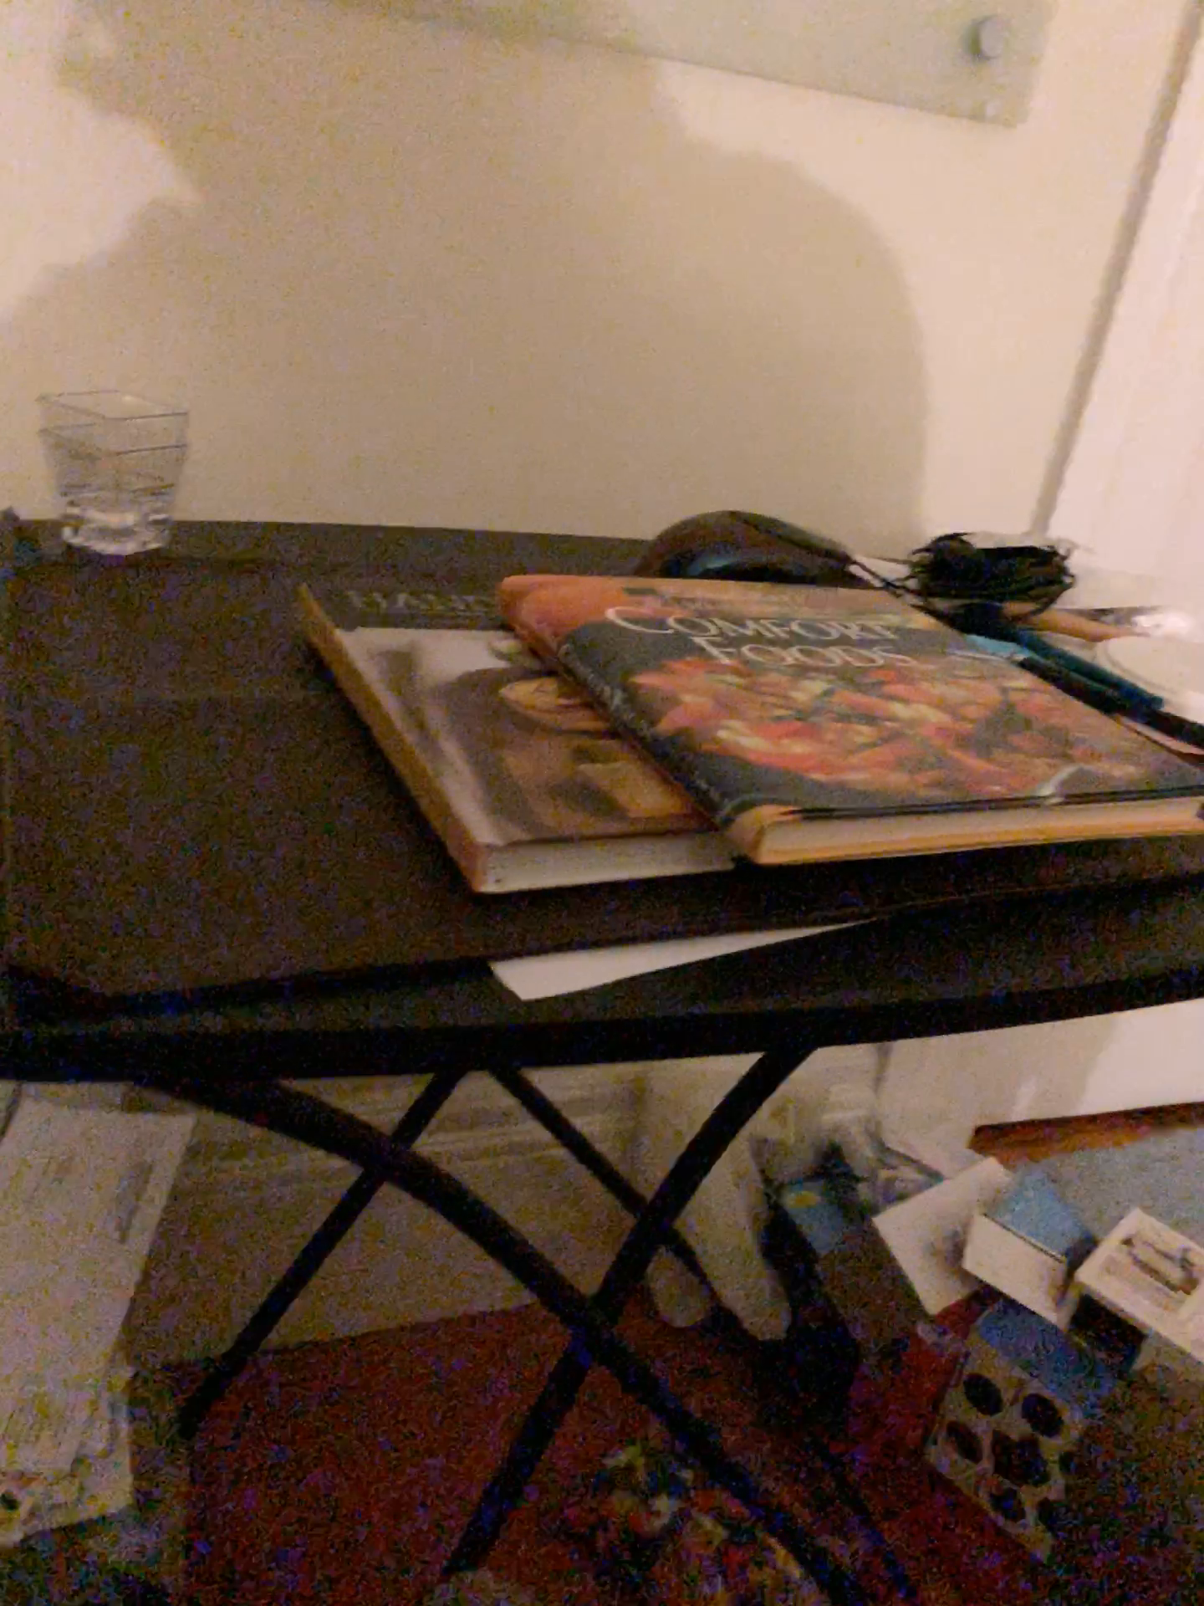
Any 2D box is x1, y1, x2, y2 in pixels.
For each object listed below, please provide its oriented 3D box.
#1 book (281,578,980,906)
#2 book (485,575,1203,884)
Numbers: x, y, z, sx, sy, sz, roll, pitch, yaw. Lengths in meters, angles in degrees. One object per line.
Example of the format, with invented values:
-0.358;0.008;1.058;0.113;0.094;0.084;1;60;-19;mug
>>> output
-0.003;-0.037;0.460;0.180;0.020;0.221;-4;29;-27;book
0.088;-0.041;0.468;0.200;0.020;0.211;-4;29;-28;book
